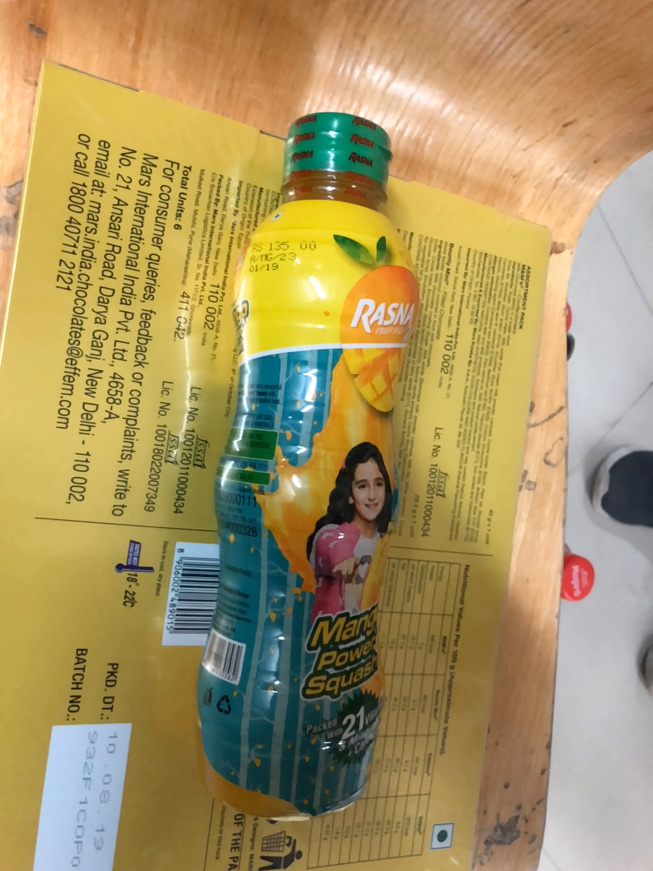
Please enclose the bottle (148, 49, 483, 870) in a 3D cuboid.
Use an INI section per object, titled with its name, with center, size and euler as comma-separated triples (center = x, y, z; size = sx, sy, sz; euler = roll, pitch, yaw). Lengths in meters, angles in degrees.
[bottle]
center = -0.001, 0.009, 0.274
size = 0.080, 0.050, 0.260
euler = 8, 89, -45
